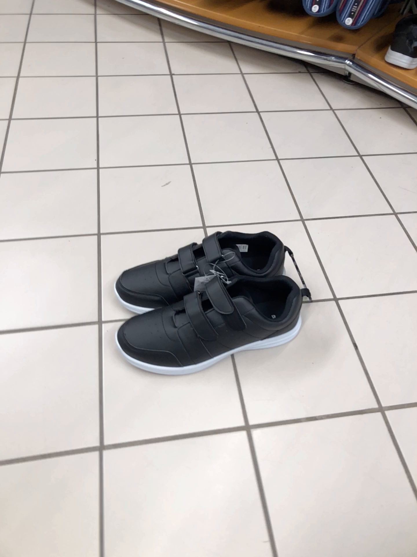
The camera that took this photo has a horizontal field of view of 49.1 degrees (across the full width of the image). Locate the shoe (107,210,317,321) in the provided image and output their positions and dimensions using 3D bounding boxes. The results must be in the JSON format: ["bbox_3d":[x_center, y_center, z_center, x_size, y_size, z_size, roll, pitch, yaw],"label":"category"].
[{"bbox_3d":[0.002,-0.024,0.745,0.310,0.099,0.100,-8,51,-11],"label":"shoe"}]

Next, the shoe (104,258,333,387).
[{"bbox_3d":[0.012,0.063,0.684,0.311,0.099,0.100,-9,51,-12],"label":"shoe"}]
